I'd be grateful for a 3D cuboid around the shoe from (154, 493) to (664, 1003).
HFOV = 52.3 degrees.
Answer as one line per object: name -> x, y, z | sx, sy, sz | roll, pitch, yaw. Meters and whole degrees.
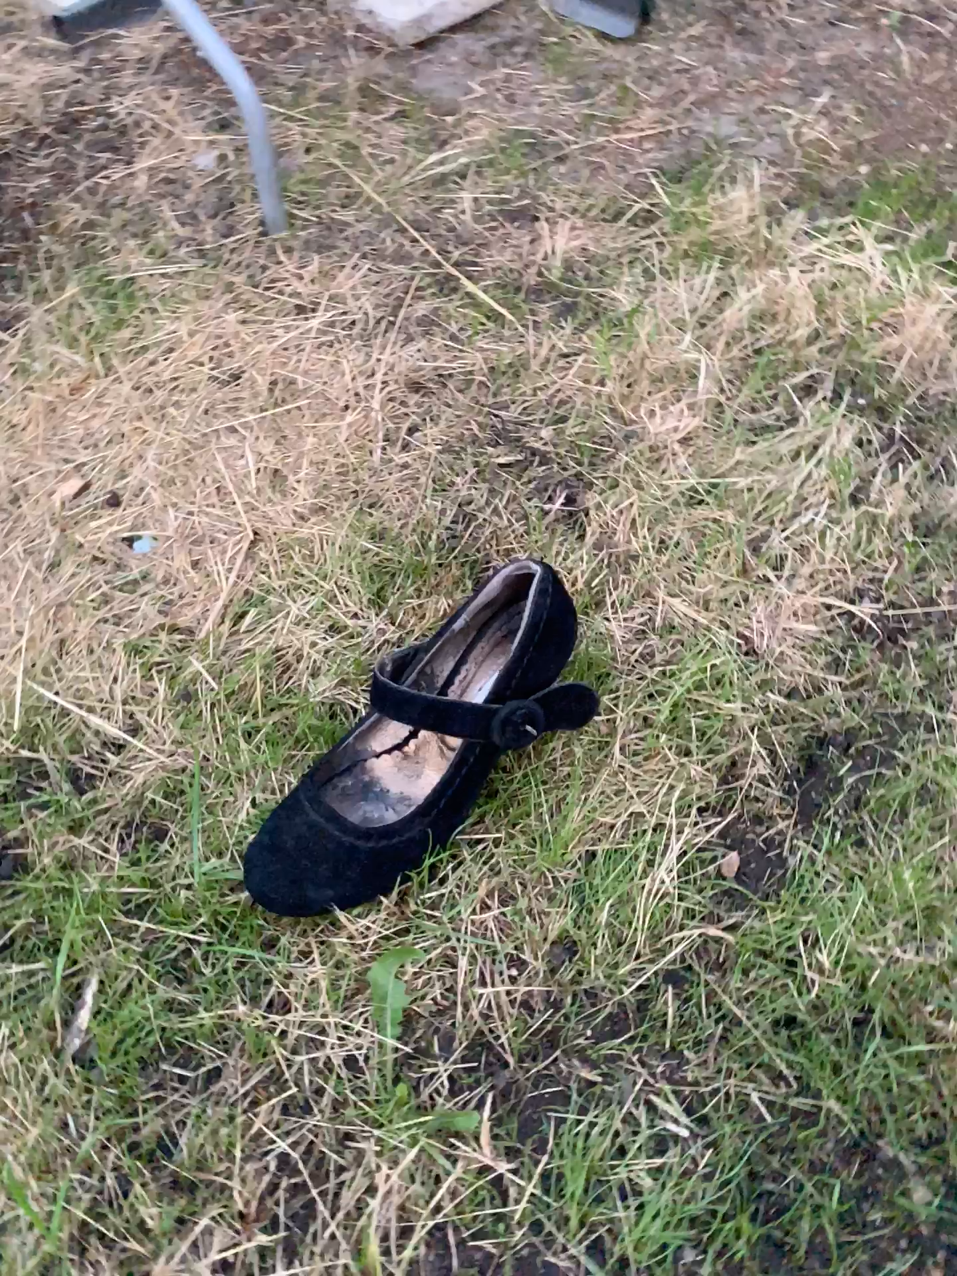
shoe -> -0.027, 0.054, 0.536 | 0.110, 0.109, 0.251 | 39, 65, 23
